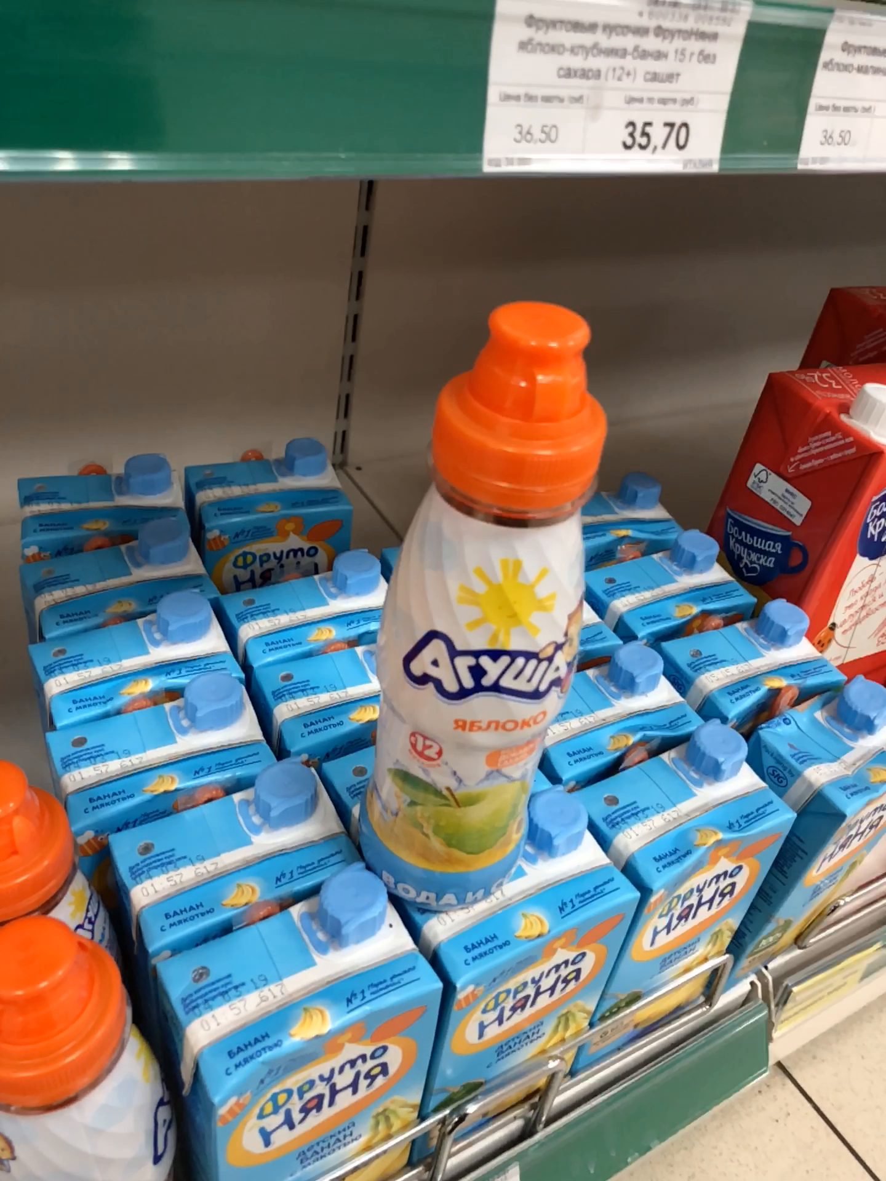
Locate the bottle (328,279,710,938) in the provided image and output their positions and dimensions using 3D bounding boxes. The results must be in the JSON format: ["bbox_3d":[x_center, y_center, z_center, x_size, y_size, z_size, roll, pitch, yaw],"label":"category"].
[{"bbox_3d":[0.009,0.016,0.280,0.056,0.193,0.053,7,37,-5],"label":"bottle"}]
